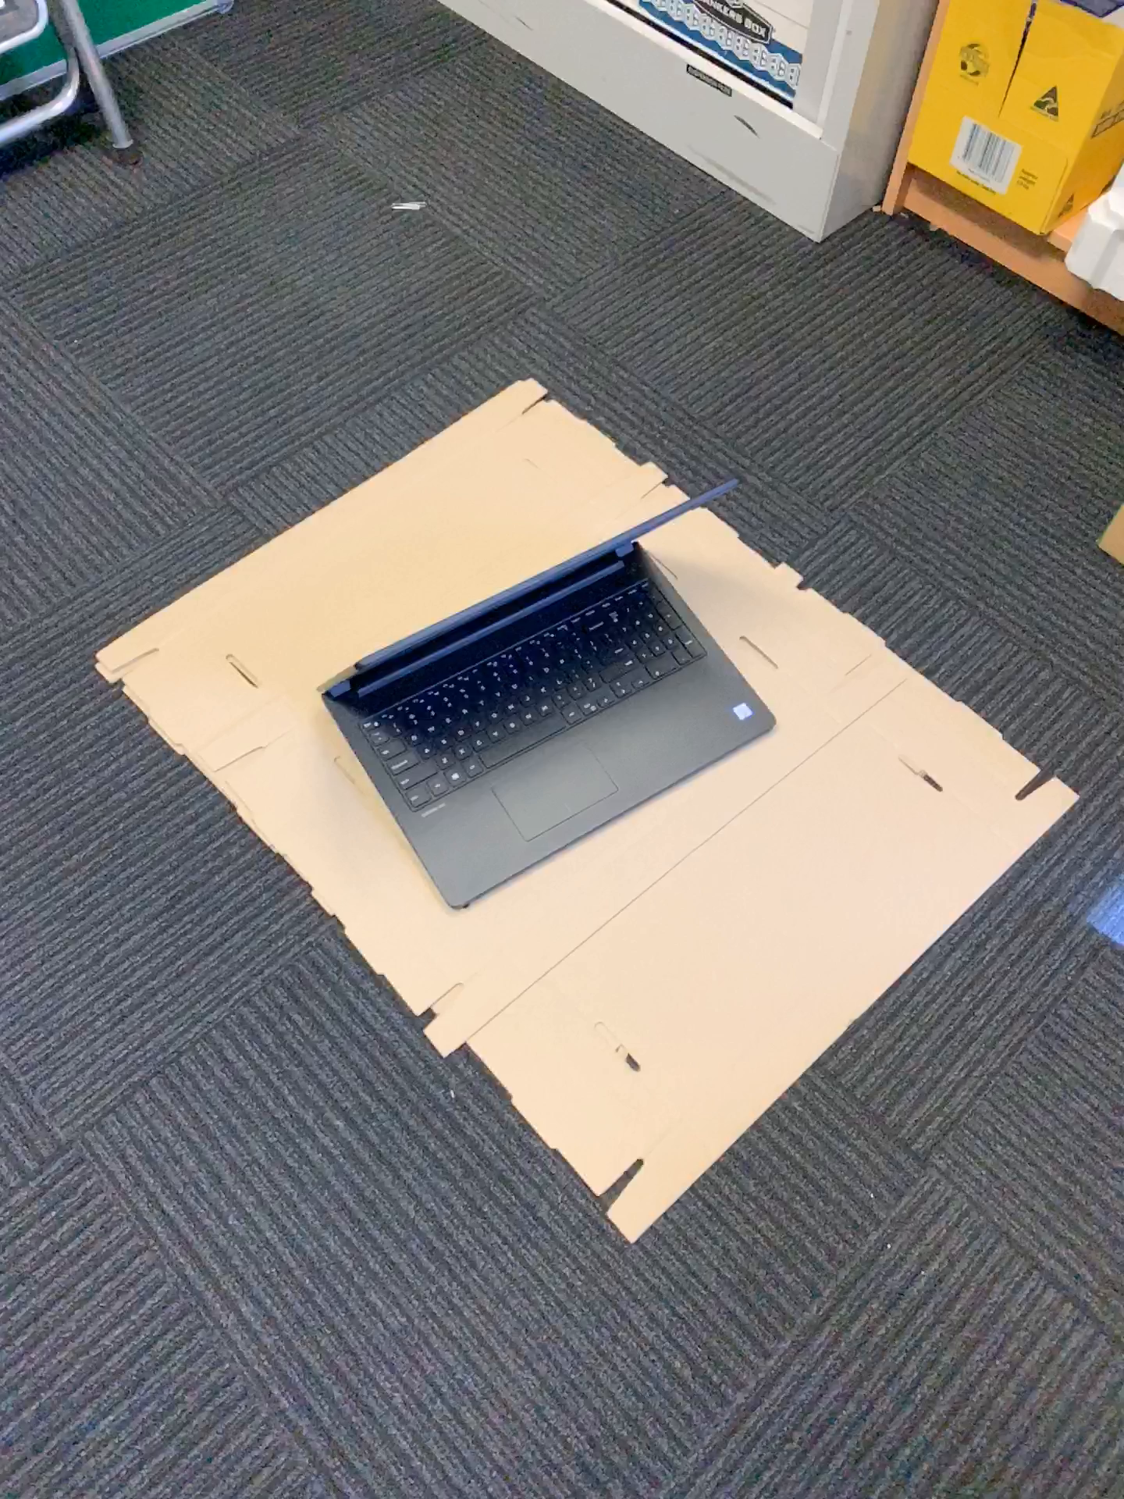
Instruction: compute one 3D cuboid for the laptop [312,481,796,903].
[{"bbox_3d":[-0.006,-0.059,0.989,0.341,0.085,0.221,-28,67,-17],"label":"laptop"}]
